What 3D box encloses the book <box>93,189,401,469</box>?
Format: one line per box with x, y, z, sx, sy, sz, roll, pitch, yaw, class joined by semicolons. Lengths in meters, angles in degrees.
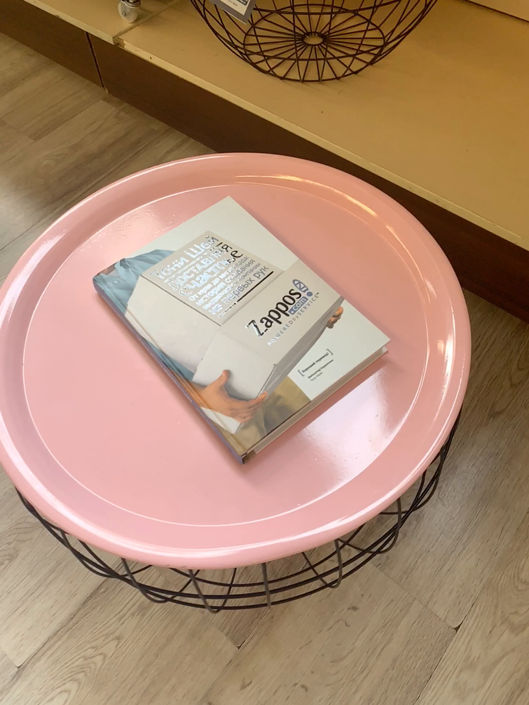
-0.022;-0.037;0.497;0.170;0.030;0.232;-35;64;-17;book
